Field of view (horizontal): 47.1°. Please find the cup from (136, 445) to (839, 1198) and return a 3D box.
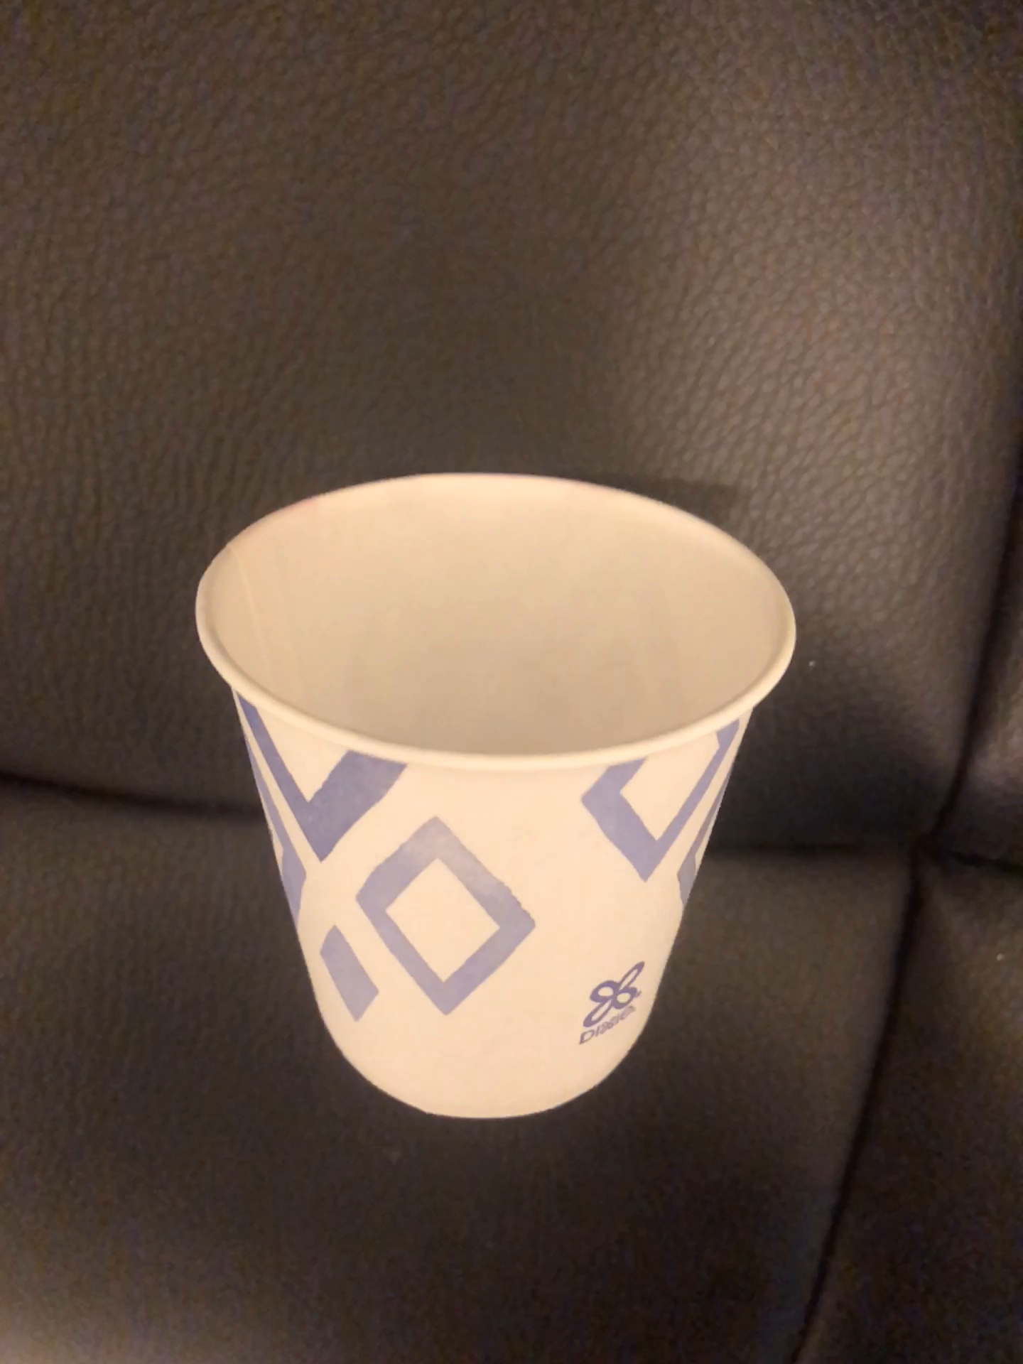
[{"bbox_3d":[-0.002,0.014,0.124,0.052,0.049,0.058,3,125,0],"label":"cup"}]
